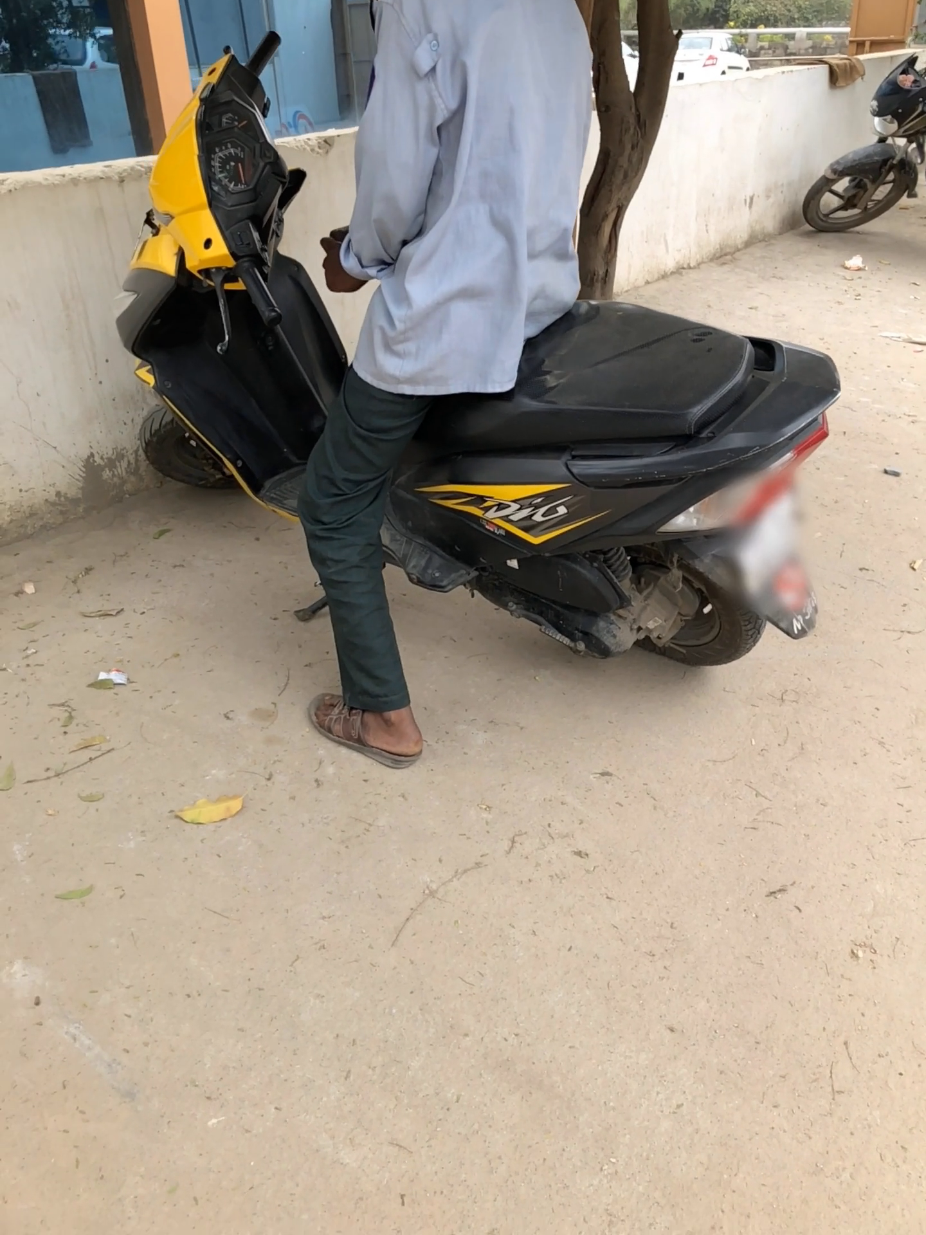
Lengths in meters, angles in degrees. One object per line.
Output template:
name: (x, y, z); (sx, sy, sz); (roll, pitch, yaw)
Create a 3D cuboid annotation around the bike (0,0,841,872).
bike: (-0.266, -0.458, 1.861); (1.570, 1.145, 0.638); (16, 35, 24)
